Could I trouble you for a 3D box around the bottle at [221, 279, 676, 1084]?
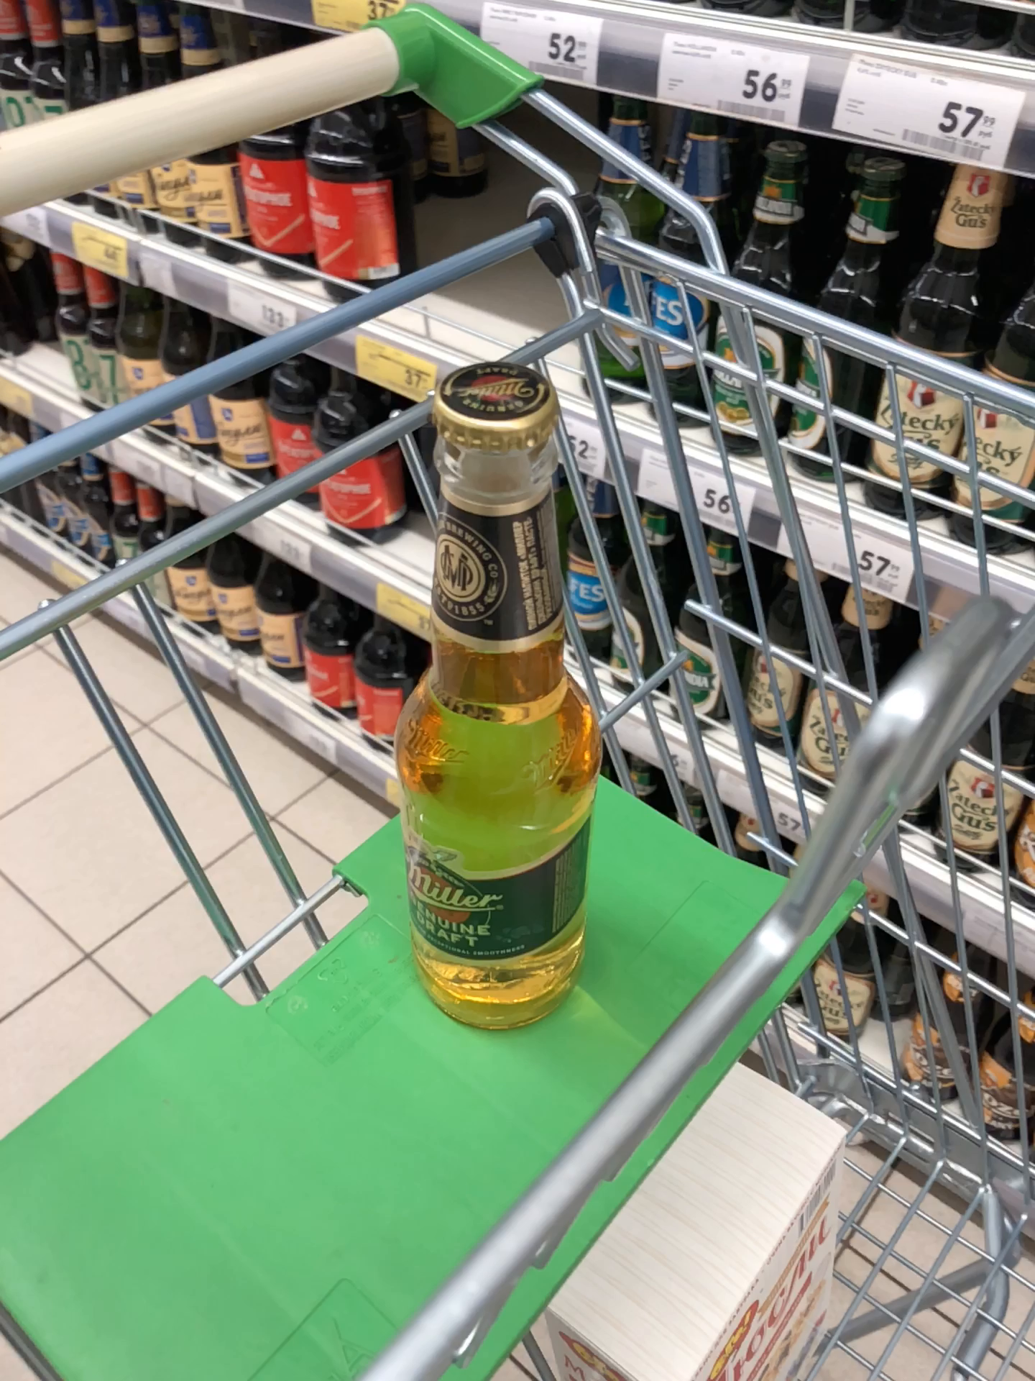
[{"bbox_3d":[-0.013,0.009,0.317,0.070,0.209,0.070,-1,41,1],"label":"bottle"}]
